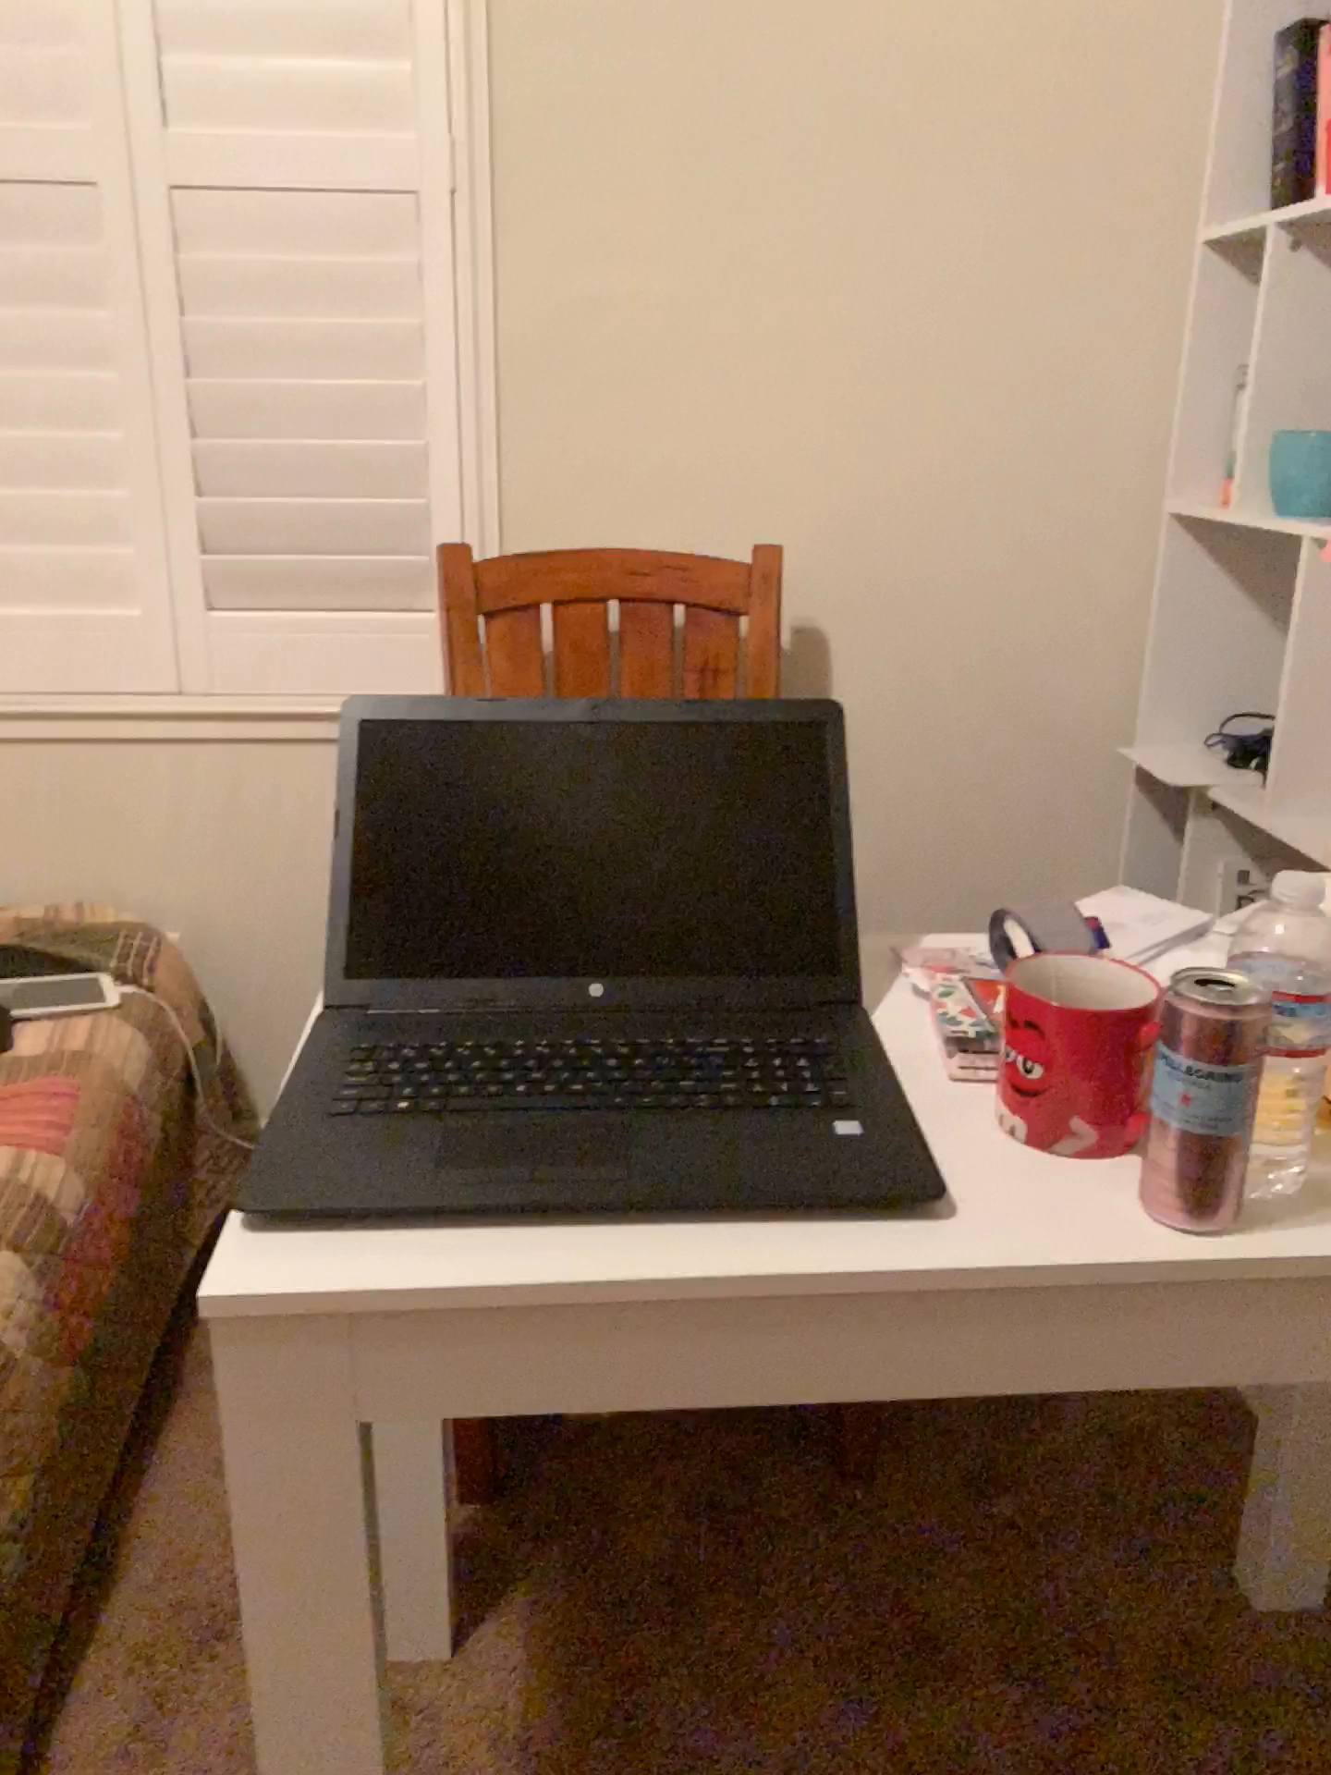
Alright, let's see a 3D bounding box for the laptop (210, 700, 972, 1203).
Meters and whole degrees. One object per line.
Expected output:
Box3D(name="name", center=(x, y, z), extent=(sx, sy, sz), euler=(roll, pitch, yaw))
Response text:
Box3D(name="laptop", center=(-0.047, 0.012, 0.944), extent=(0.400, 0.197, 0.418), euler=(0, 19, -2))
